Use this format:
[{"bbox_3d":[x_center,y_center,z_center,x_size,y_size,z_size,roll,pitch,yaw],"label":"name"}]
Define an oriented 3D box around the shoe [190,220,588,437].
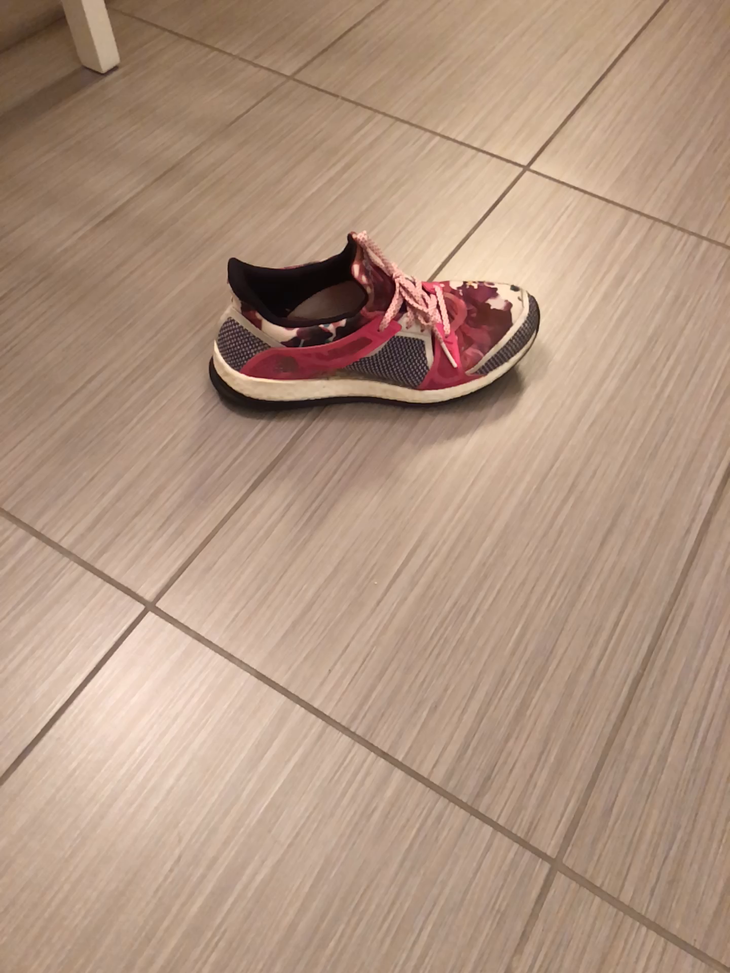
[{"bbox_3d":[0.013,-0.126,0.632,0.280,0.090,0.110,-7,56,-7],"label":"shoe"}]
